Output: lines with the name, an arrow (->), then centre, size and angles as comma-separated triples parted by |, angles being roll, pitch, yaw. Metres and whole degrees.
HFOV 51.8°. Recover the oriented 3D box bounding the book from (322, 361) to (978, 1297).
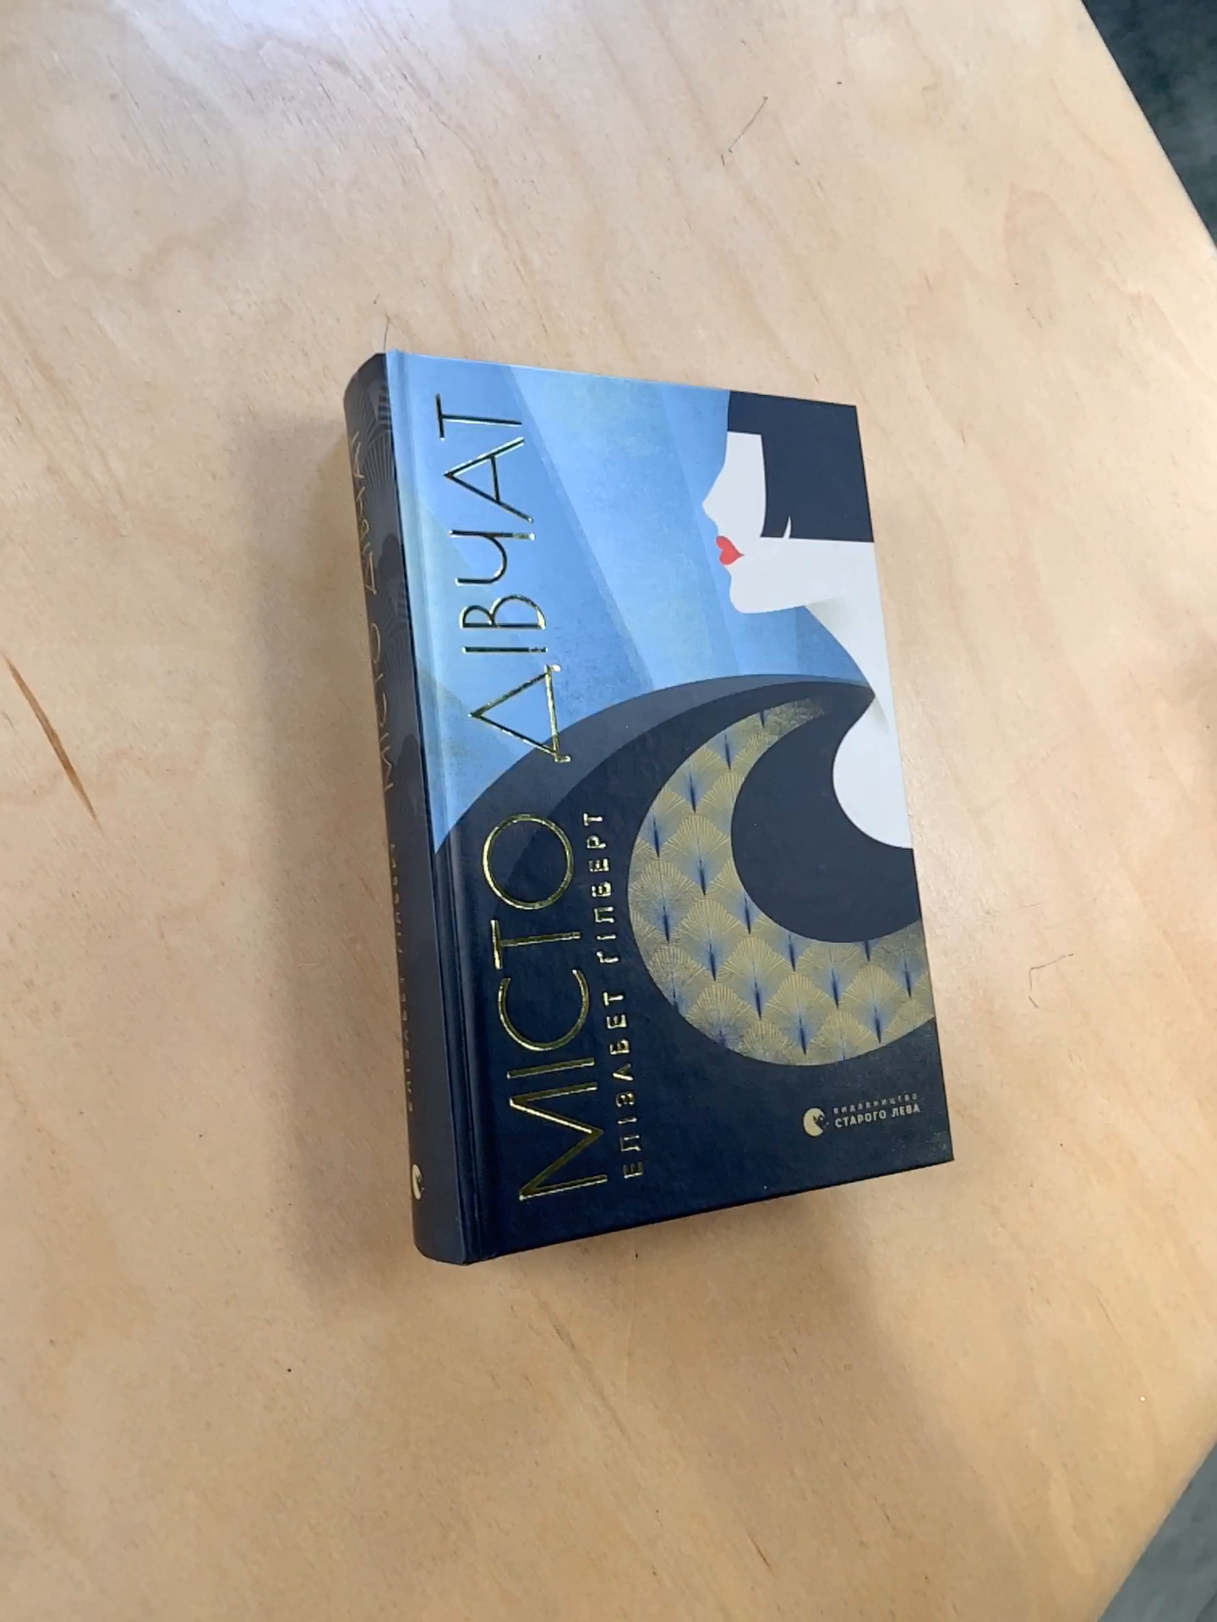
book -> 0.011, -0.001, 0.309 | 0.135, 0.043, 0.197 | -5, 85, -25
